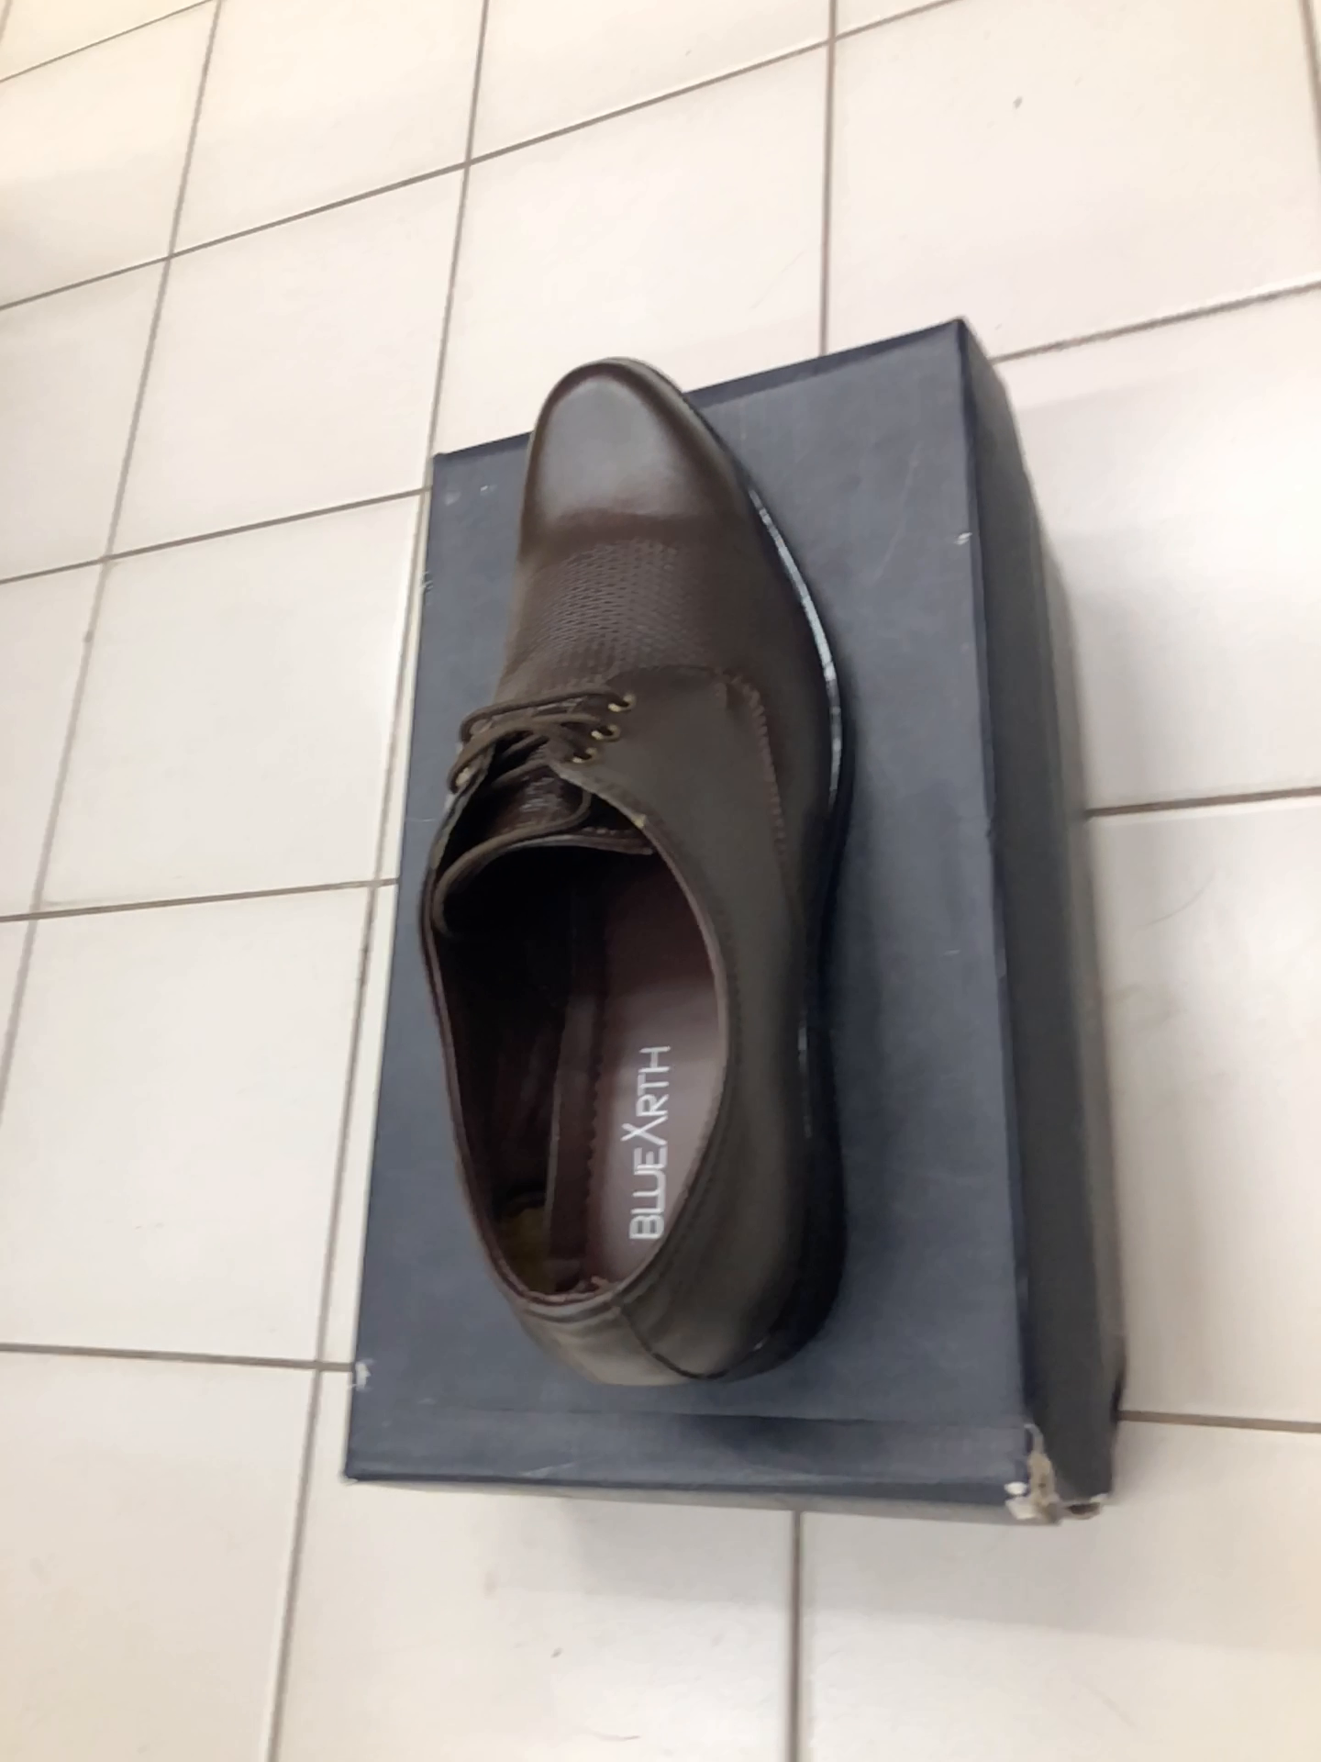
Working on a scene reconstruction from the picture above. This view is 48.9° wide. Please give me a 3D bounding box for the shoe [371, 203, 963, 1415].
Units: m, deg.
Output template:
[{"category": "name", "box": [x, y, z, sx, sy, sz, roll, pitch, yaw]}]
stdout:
[{"category": "shoe", "box": [-0.003, -0.015, 0.392, 0.104, 0.109, 0.291, -13, 67, 20]}]
